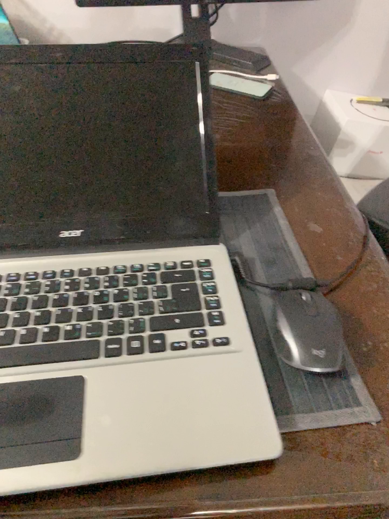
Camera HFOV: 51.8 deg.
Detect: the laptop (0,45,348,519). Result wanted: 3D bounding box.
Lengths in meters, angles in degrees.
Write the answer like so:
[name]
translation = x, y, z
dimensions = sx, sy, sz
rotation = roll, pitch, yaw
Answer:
[laptop]
translation = -0.124, -0.038, 0.344
dimensions = 0.330, 0.146, 0.388
rotation = -4, 45, -8
